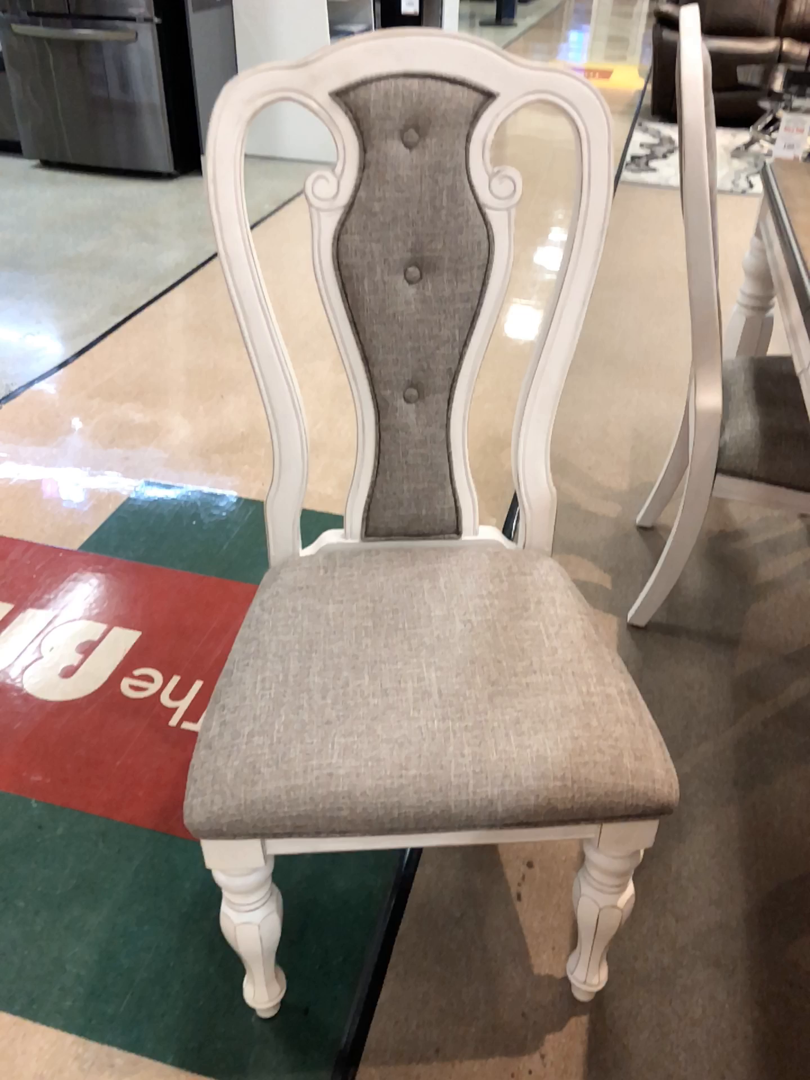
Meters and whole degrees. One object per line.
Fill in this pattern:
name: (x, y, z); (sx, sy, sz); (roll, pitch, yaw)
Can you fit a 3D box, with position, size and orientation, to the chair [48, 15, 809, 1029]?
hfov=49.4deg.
chair: (0.046, -0.012, 1.075); (0.550, 1.013, 0.675); (0, 36, -3)
